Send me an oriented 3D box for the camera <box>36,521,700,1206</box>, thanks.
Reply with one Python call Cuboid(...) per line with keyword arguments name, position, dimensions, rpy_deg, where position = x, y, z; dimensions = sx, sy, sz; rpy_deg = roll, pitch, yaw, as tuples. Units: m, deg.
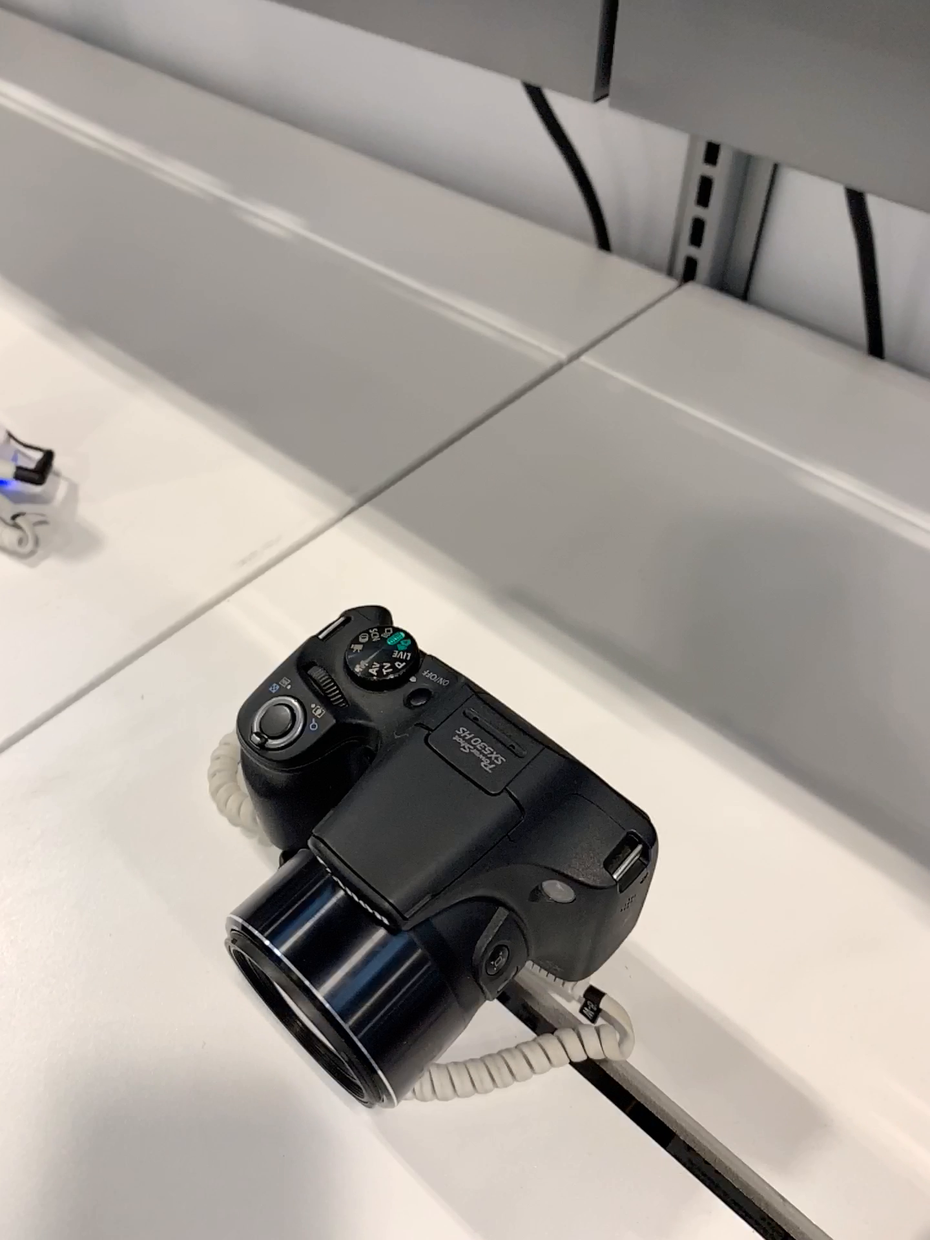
Cuboid(name="camera", position=(-0.023, 0.059, 0.259), dimensions=(0.120, 0.090, 0.100), rpy_deg=(33, 55, 26))
